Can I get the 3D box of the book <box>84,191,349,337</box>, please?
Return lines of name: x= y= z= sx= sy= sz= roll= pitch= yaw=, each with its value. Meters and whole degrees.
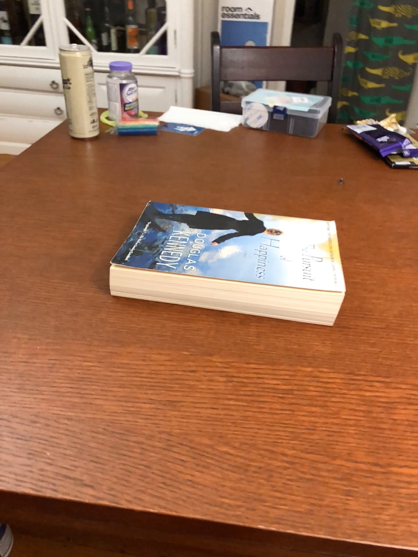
book: x=0.015 y=-0.026 z=0.492 sx=0.240 sy=0.050 sz=0.161 roll=7 pitch=35 yaw=7
